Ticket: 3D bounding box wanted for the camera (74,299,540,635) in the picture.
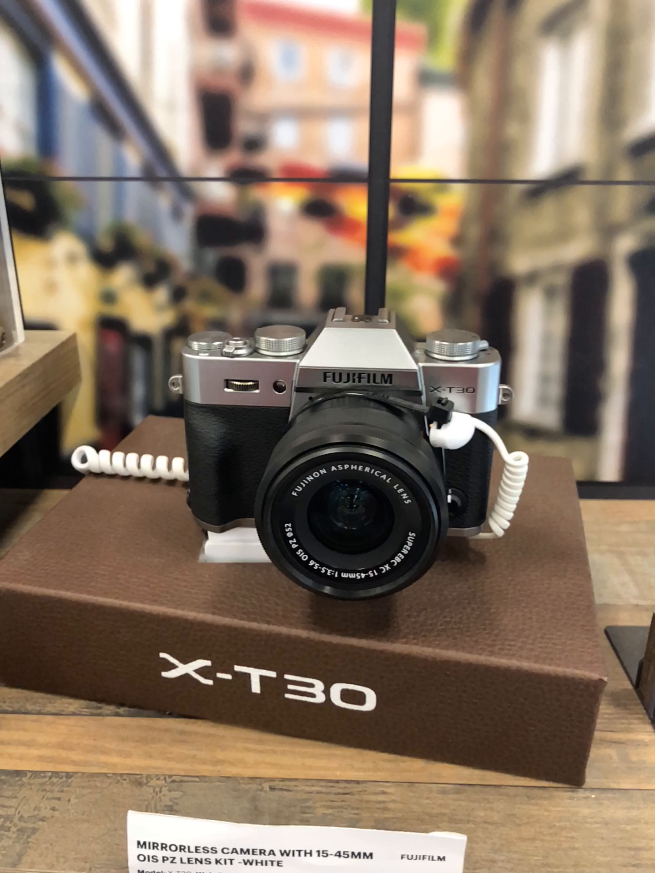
[{"bbox_3d":[-0.003,0.003,0.260,0.130,0.080,0.090,3,24,6],"label":"camera"}]
